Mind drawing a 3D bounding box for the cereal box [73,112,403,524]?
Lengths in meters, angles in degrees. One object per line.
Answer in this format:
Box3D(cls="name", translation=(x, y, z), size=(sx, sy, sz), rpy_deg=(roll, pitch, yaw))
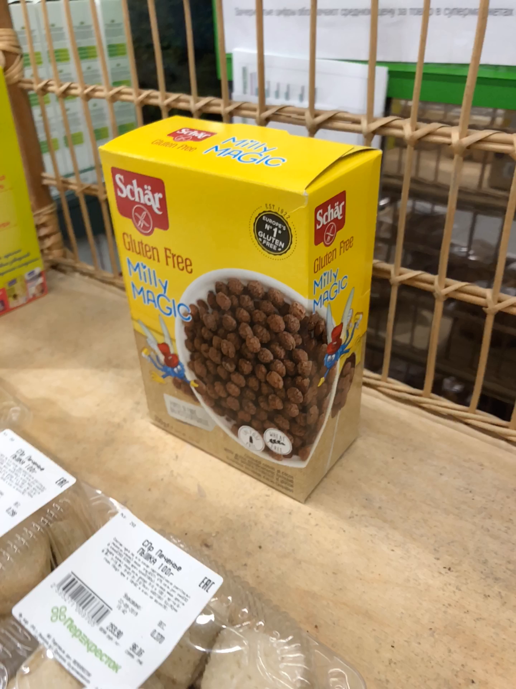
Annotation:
Box3D(cls="cereal box", translation=(-0.010, -0.020, 0.363), size=(0.160, 0.209, 0.080), rpy_deg=(21, 41, 31))
